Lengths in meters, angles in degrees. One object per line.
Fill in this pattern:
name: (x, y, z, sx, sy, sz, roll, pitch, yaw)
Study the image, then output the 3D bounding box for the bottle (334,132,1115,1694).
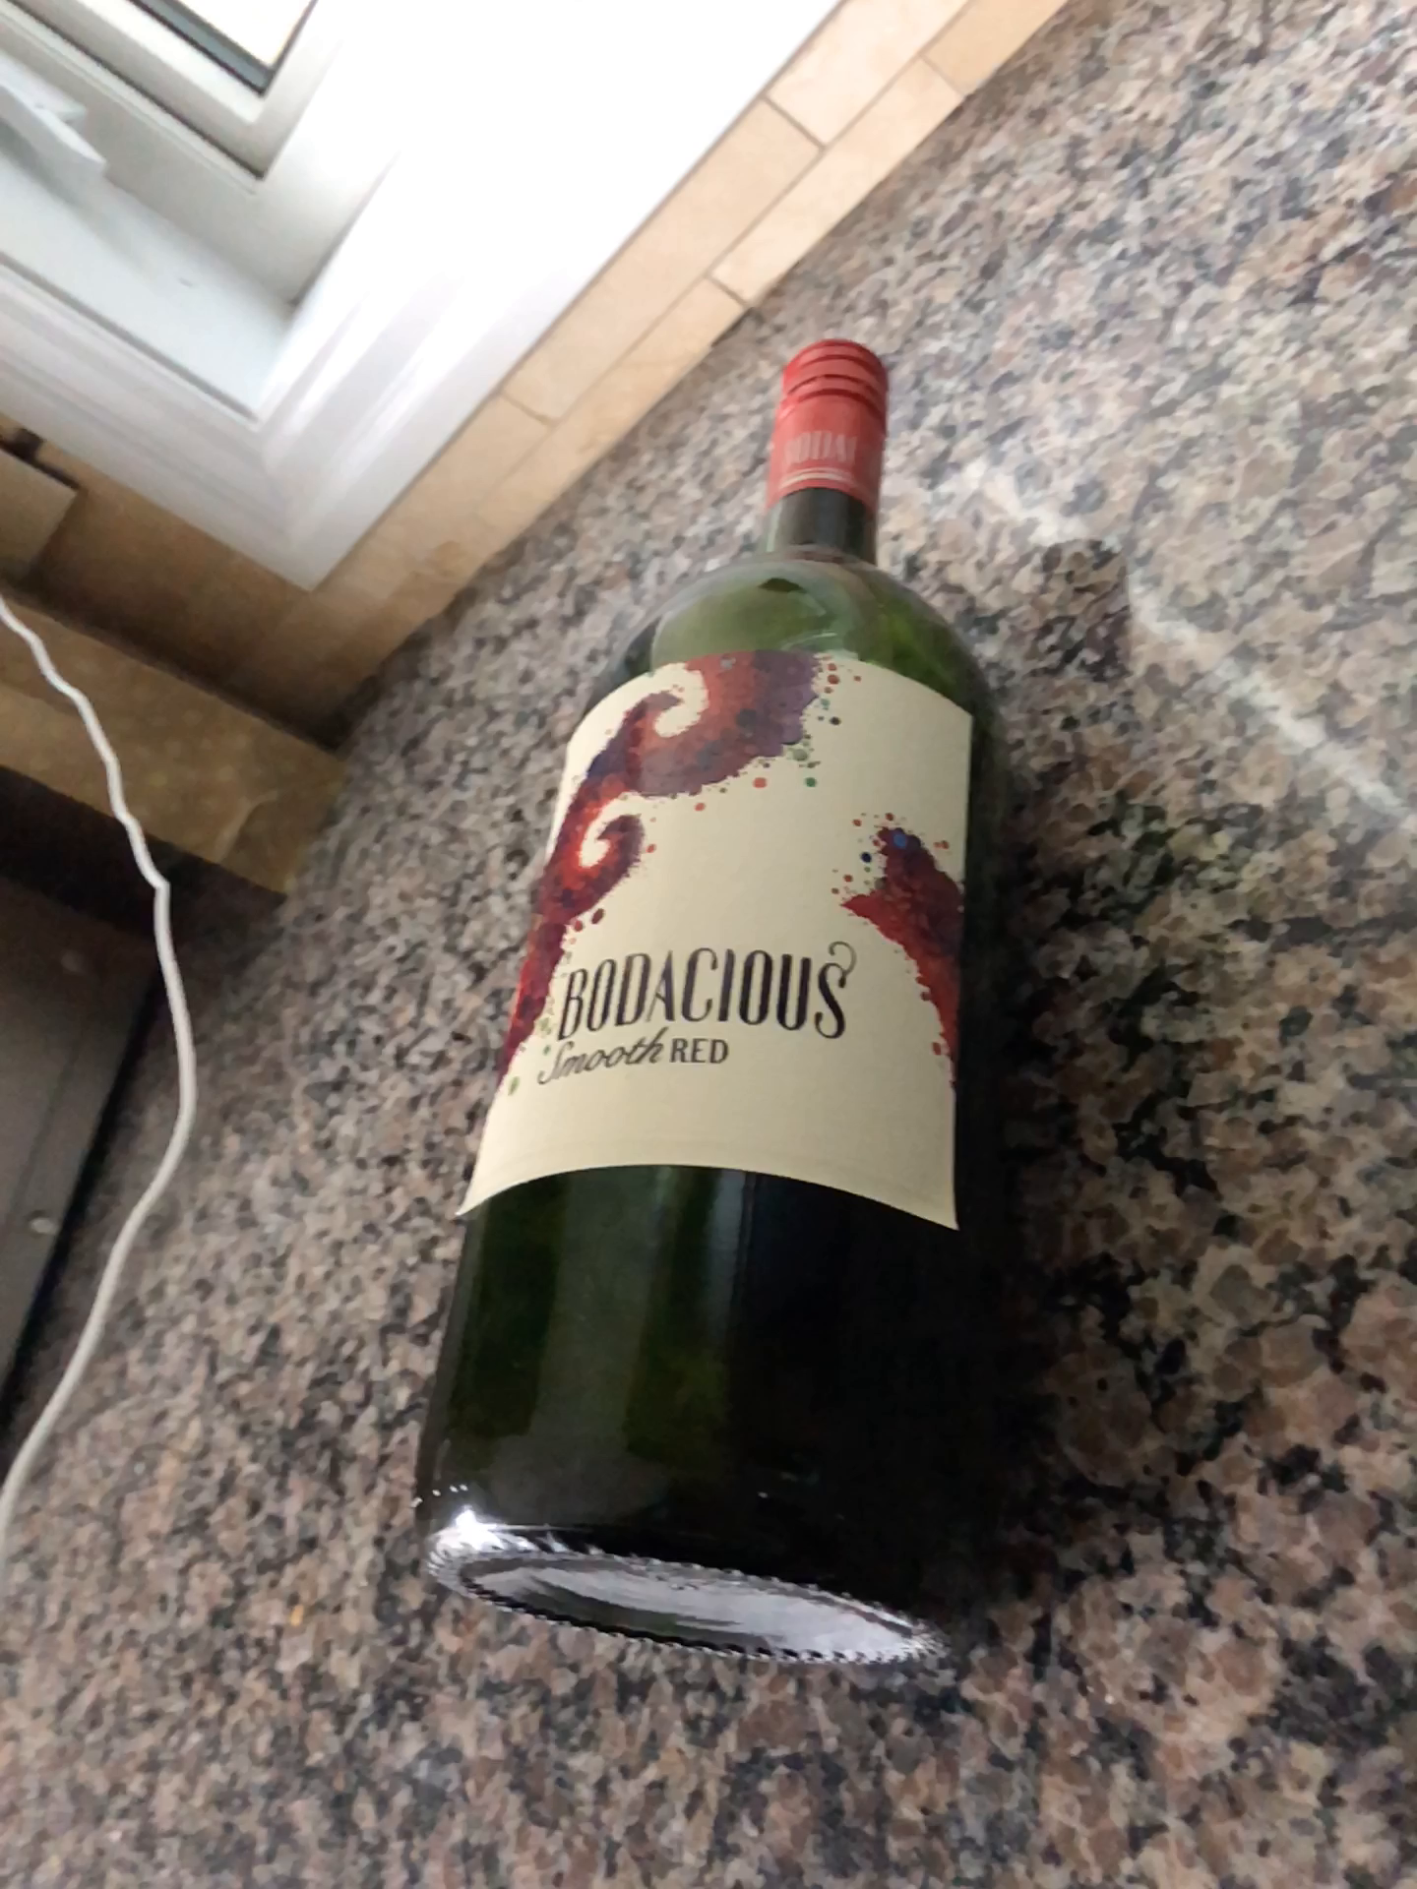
bottle: (0.022, -0.032, 0.353, 0.100, 0.110, 0.340, 90, -173, -58)
